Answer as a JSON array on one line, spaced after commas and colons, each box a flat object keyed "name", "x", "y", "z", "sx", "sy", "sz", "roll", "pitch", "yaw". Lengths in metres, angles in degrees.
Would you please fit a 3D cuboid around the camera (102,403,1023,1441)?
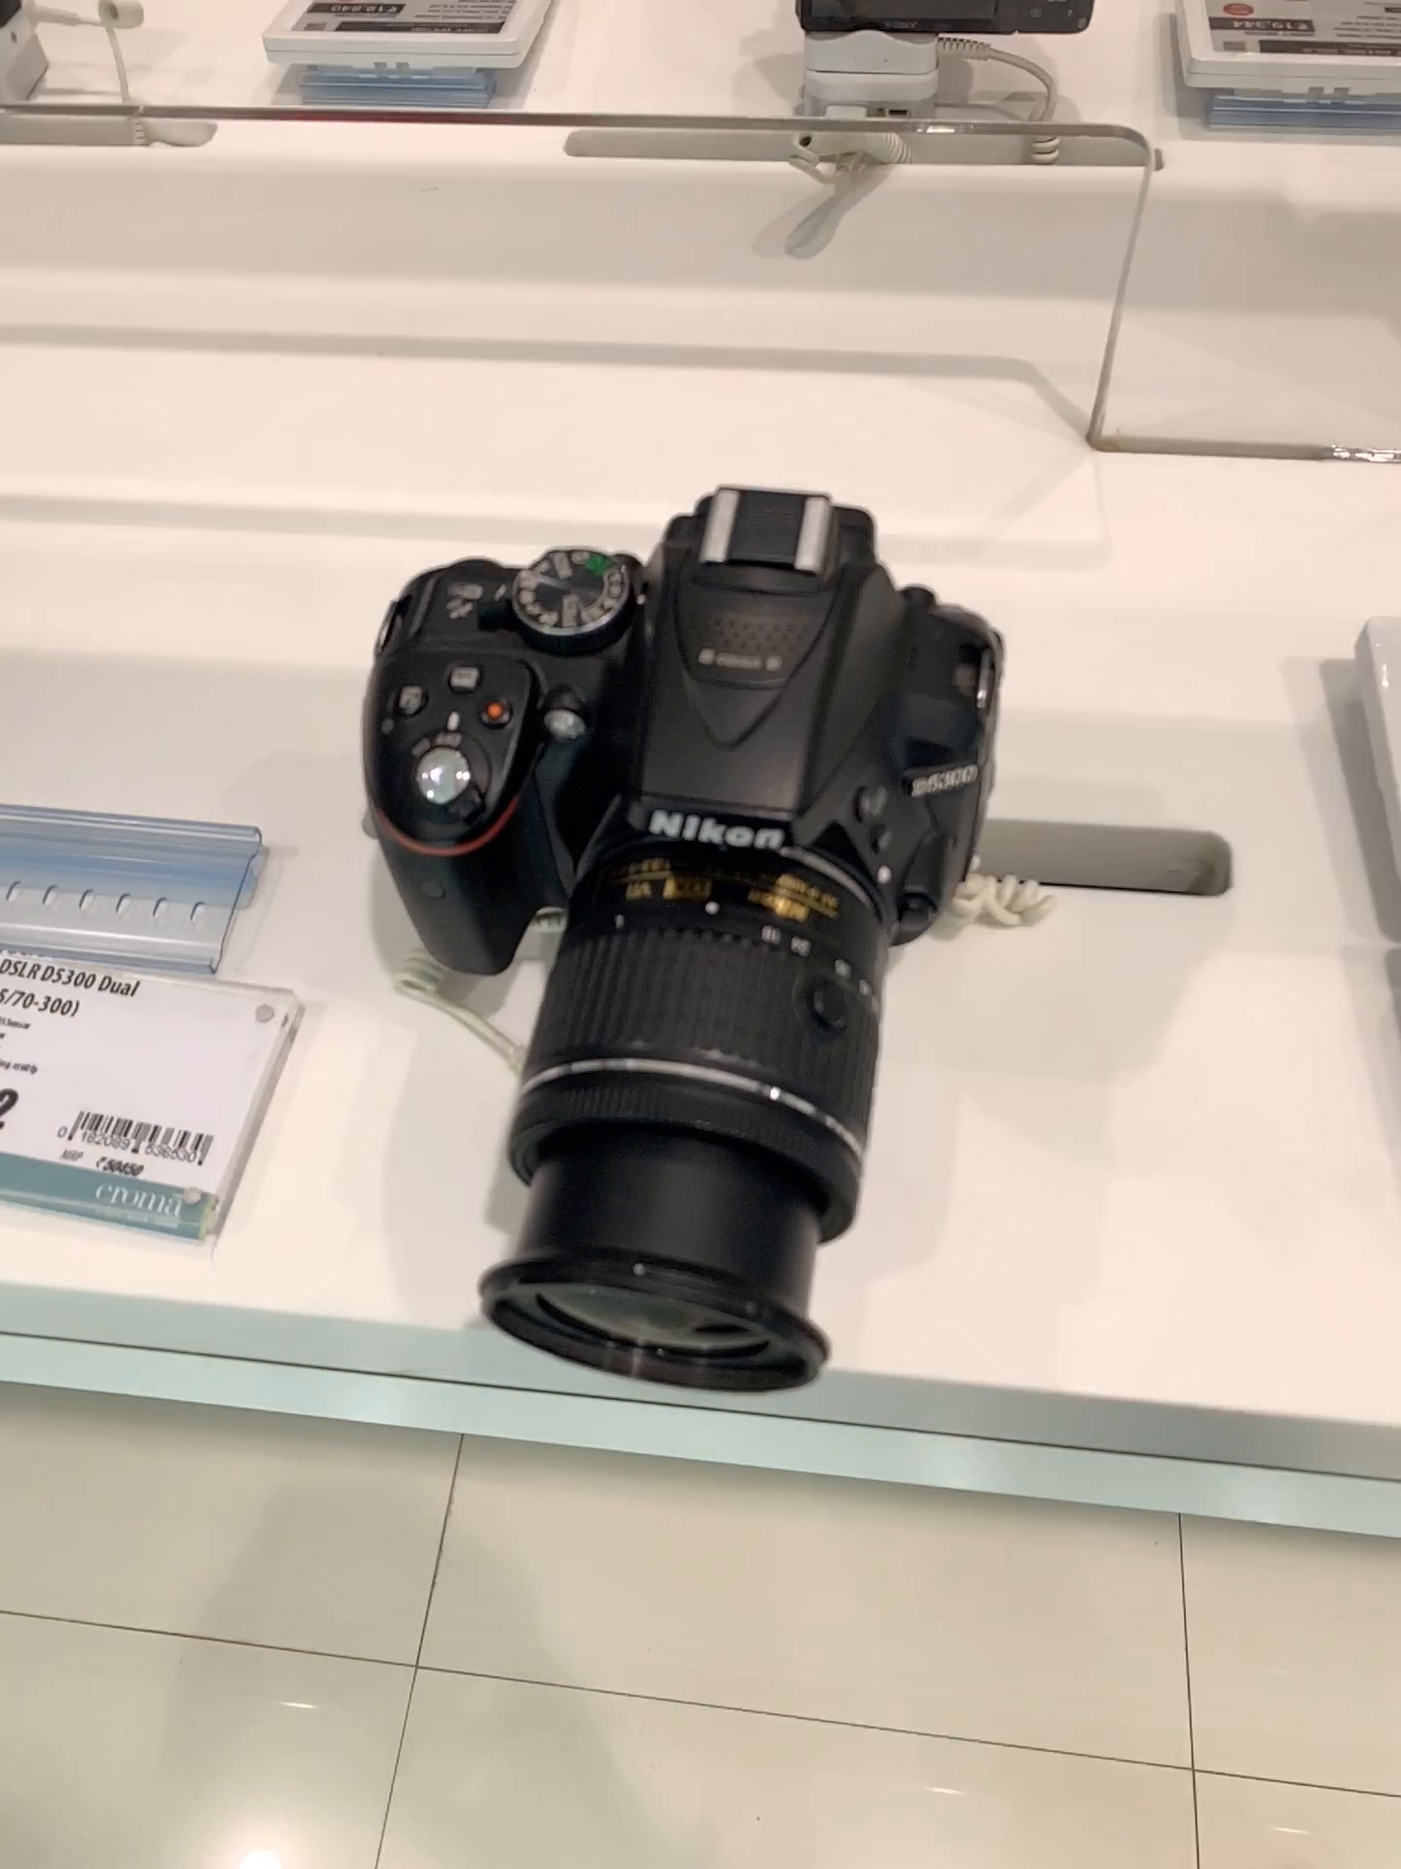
[{"name": "camera", "x": -0.009, "y": -0.002, "z": 0.261, "sx": 0.110, "sy": 0.110, "sz": 0.140, "roll": 7, "pitch": 58, "yaw": 8}]
